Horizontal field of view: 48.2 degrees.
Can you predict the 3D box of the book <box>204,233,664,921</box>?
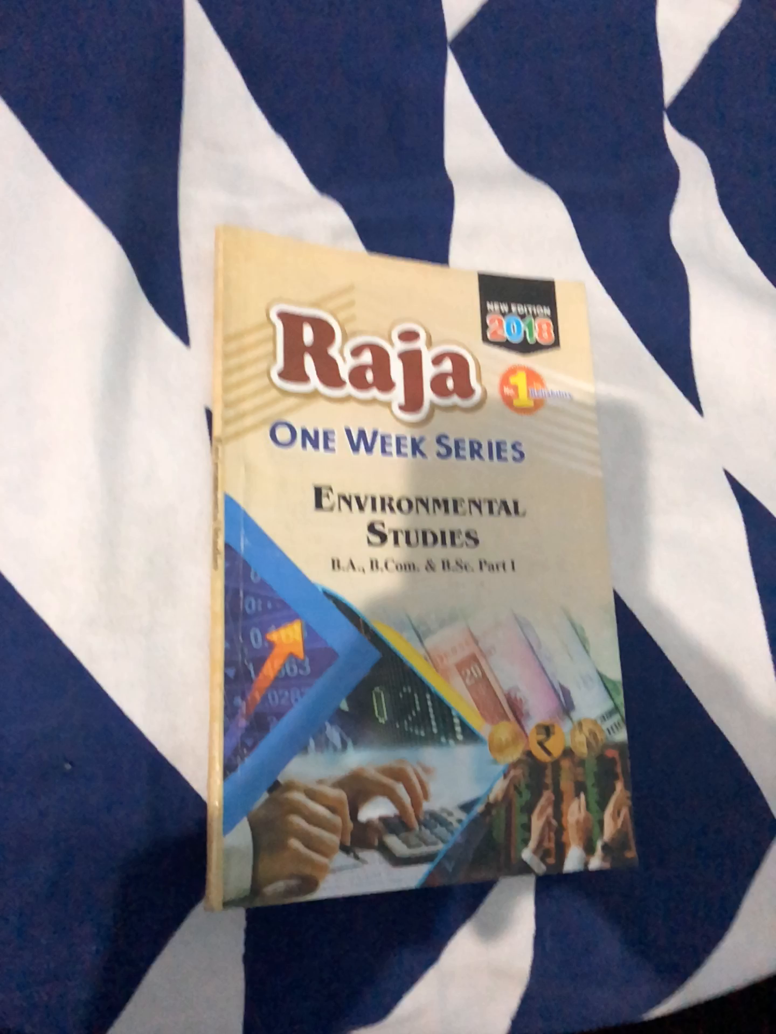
[{"bbox_3d":[0.015,0.012,0.275,0.140,0.010,0.200,2,78,-17],"label":"book"}]
